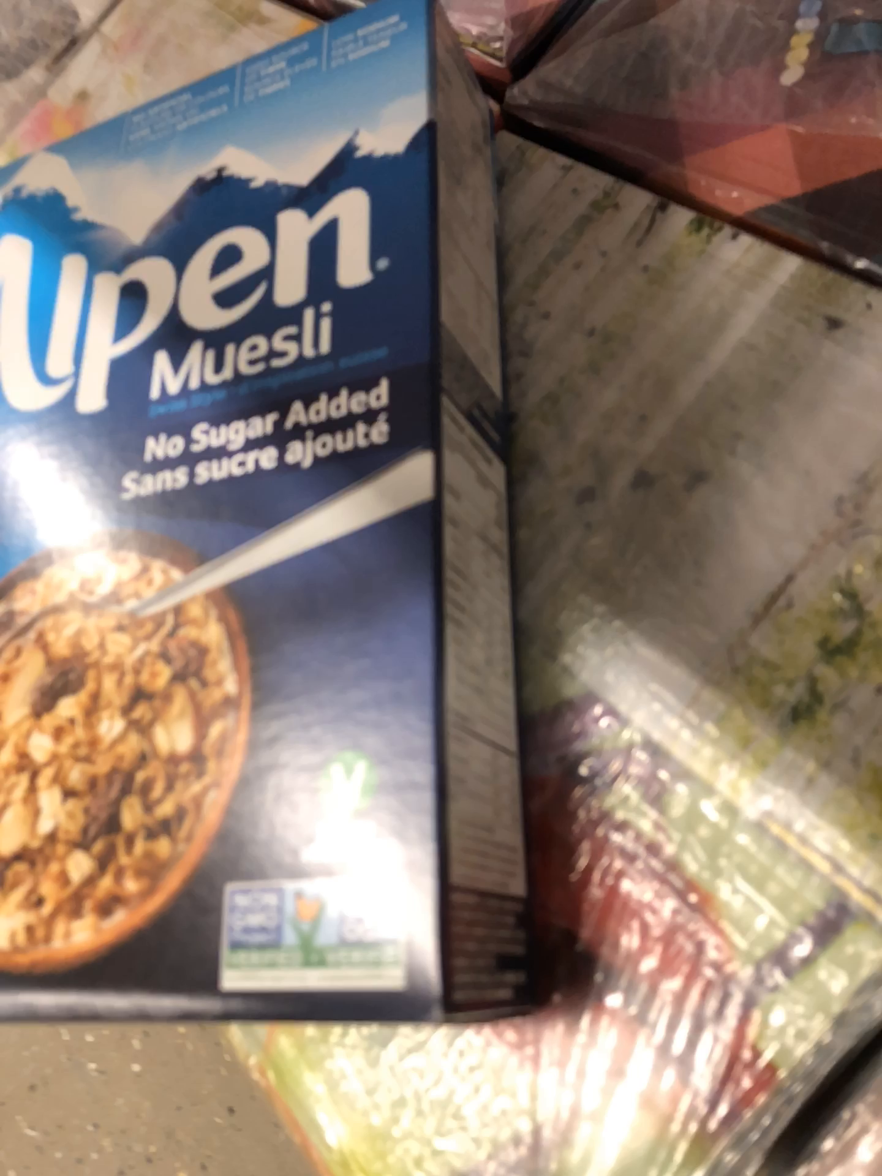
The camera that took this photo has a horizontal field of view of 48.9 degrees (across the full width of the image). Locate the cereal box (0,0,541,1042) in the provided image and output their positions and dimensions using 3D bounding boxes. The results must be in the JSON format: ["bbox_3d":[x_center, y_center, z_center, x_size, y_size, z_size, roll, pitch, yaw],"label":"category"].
[{"bbox_3d":[-0.080,-0.032,0.254,0.191,0.050,0.270,-11,66,22],"label":"cereal box"}]
